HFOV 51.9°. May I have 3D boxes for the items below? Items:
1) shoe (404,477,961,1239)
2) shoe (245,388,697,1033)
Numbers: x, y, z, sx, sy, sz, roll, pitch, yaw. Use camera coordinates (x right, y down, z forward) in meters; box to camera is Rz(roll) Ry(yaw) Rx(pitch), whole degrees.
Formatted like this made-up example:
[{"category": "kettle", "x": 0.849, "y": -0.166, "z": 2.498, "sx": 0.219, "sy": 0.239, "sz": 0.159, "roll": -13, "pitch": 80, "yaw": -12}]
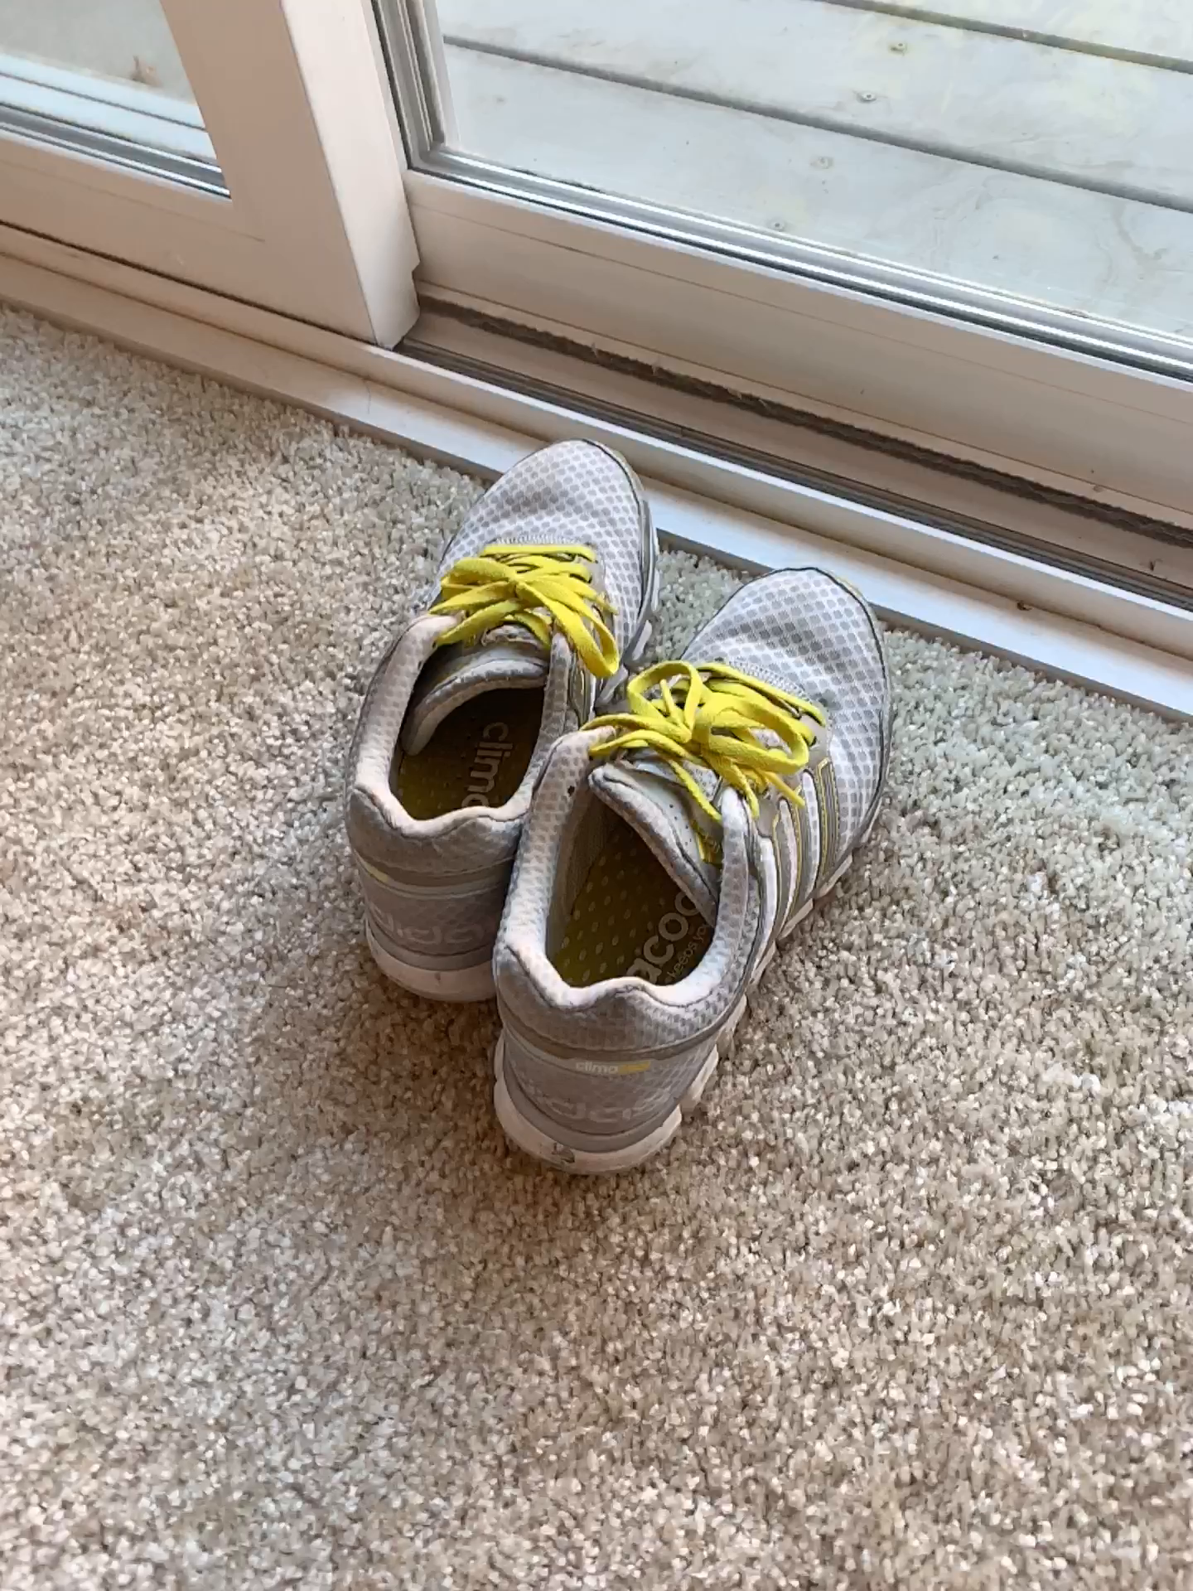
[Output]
[{"category": "shoe", "x": 0.036, "y": 0.009, "z": 0.428, "sx": 0.090, "sy": 0.100, "sz": 0.241, "roll": 24, "pitch": 54, "yaw": 12}, {"category": "shoe", "x": -0.036, "y": -0.043, "z": 0.474, "sx": 0.090, "sy": 0.100, "sz": 0.231, "roll": 14, "pitch": 51, "yaw": 7}]
